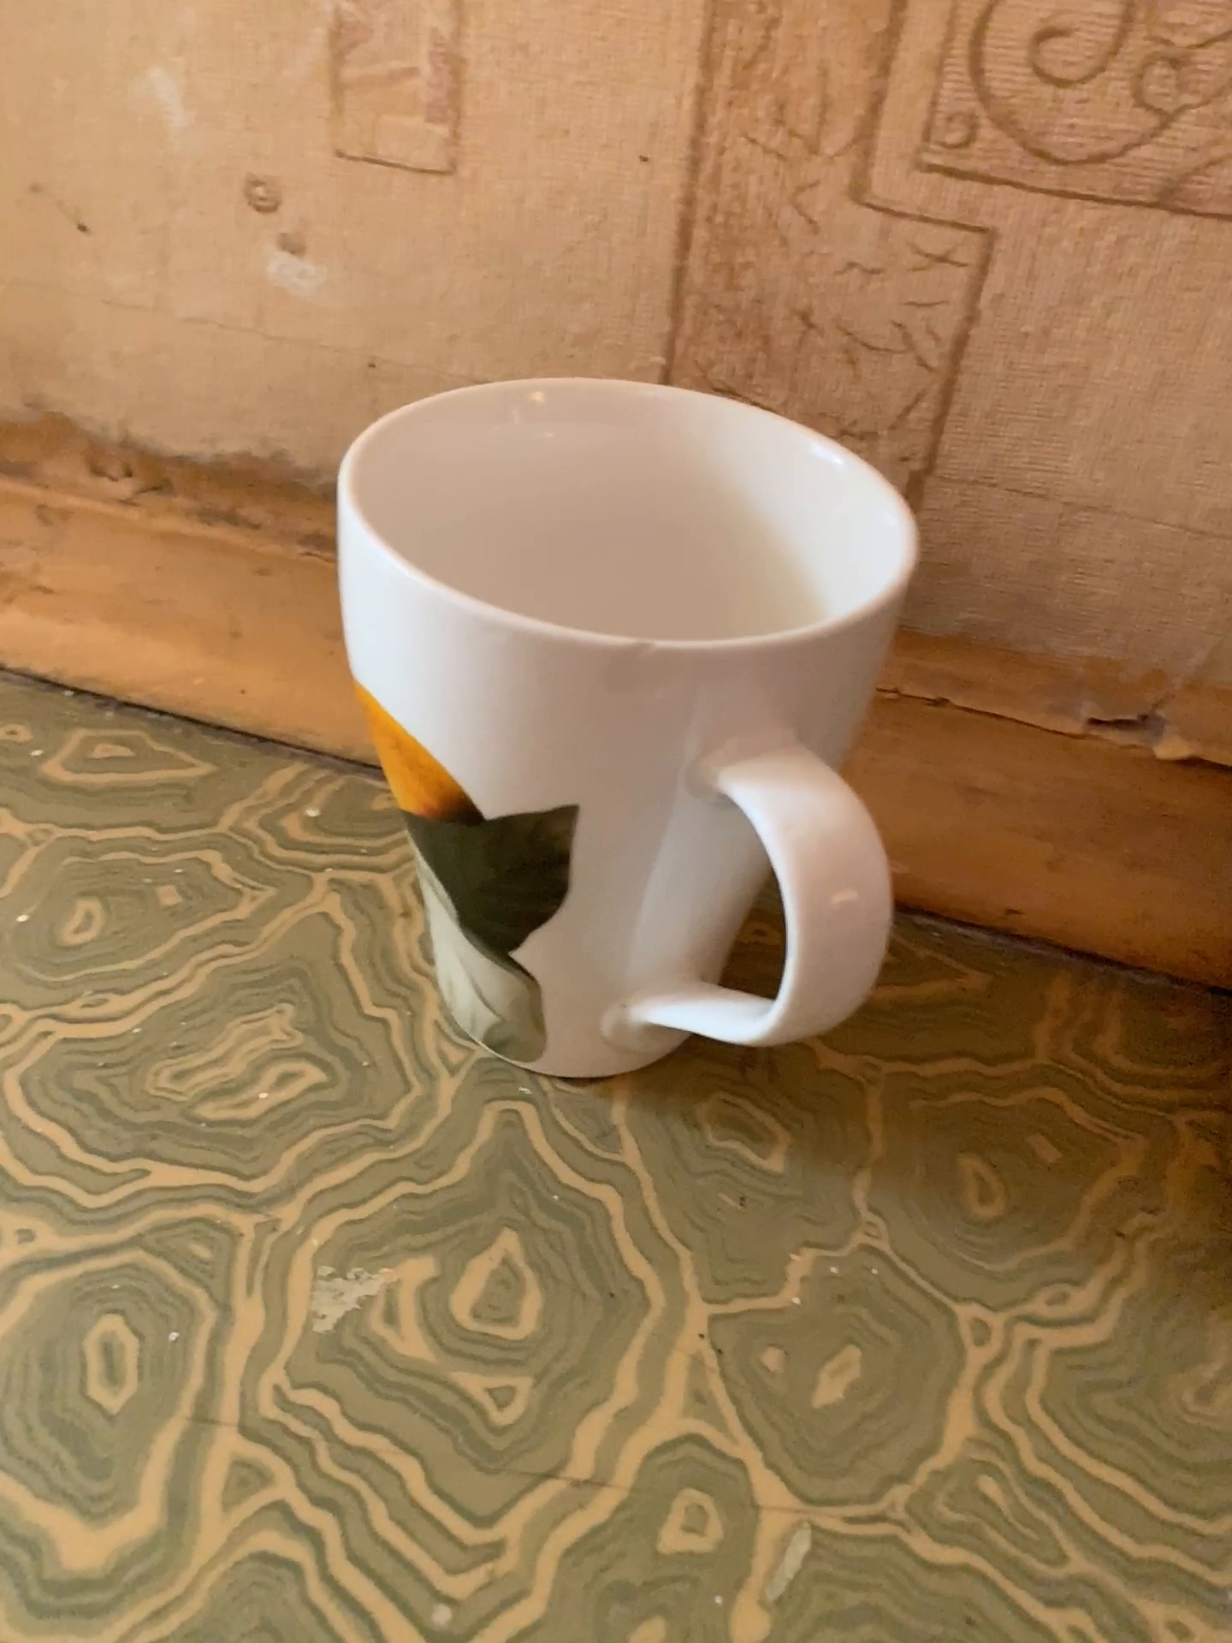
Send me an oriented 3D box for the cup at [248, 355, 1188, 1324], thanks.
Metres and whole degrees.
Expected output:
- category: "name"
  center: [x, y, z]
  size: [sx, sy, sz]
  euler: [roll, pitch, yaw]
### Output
- category: "cup"
  center: [0.004, -0.008, 0.225]
  size: [0.094, 0.099, 0.119]
  euler: [-16, 44, -27]
